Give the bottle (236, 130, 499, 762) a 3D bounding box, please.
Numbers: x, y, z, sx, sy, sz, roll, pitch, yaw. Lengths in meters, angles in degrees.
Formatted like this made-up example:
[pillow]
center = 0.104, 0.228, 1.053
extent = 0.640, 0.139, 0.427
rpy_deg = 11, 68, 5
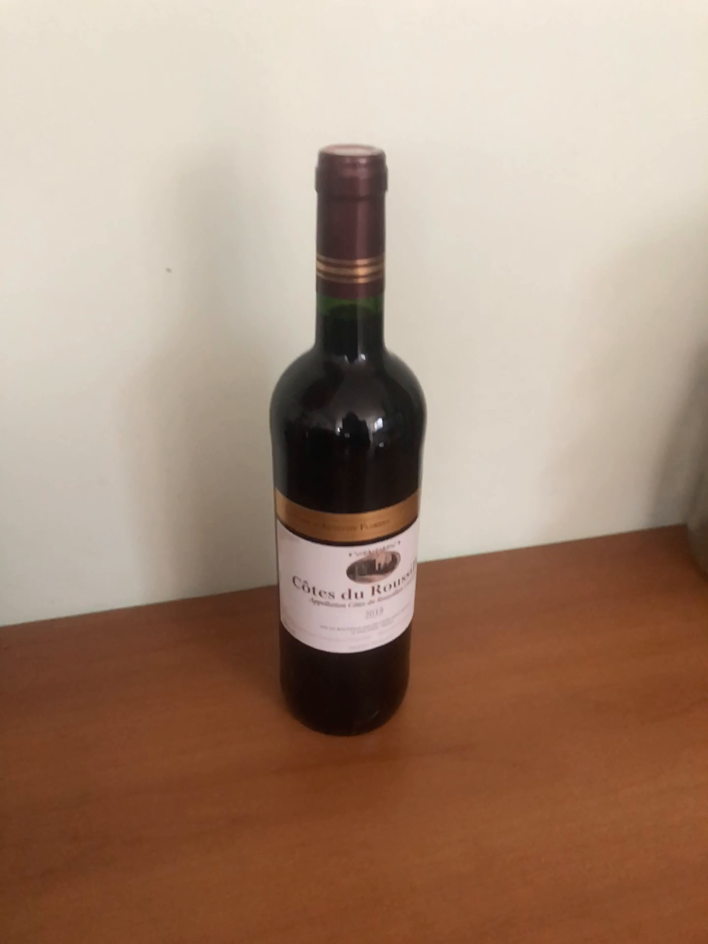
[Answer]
[bottle]
center = -0.002, 0.000, 0.372
extent = 0.080, 0.288, 0.080
rpy_deg = 1, 31, -1
